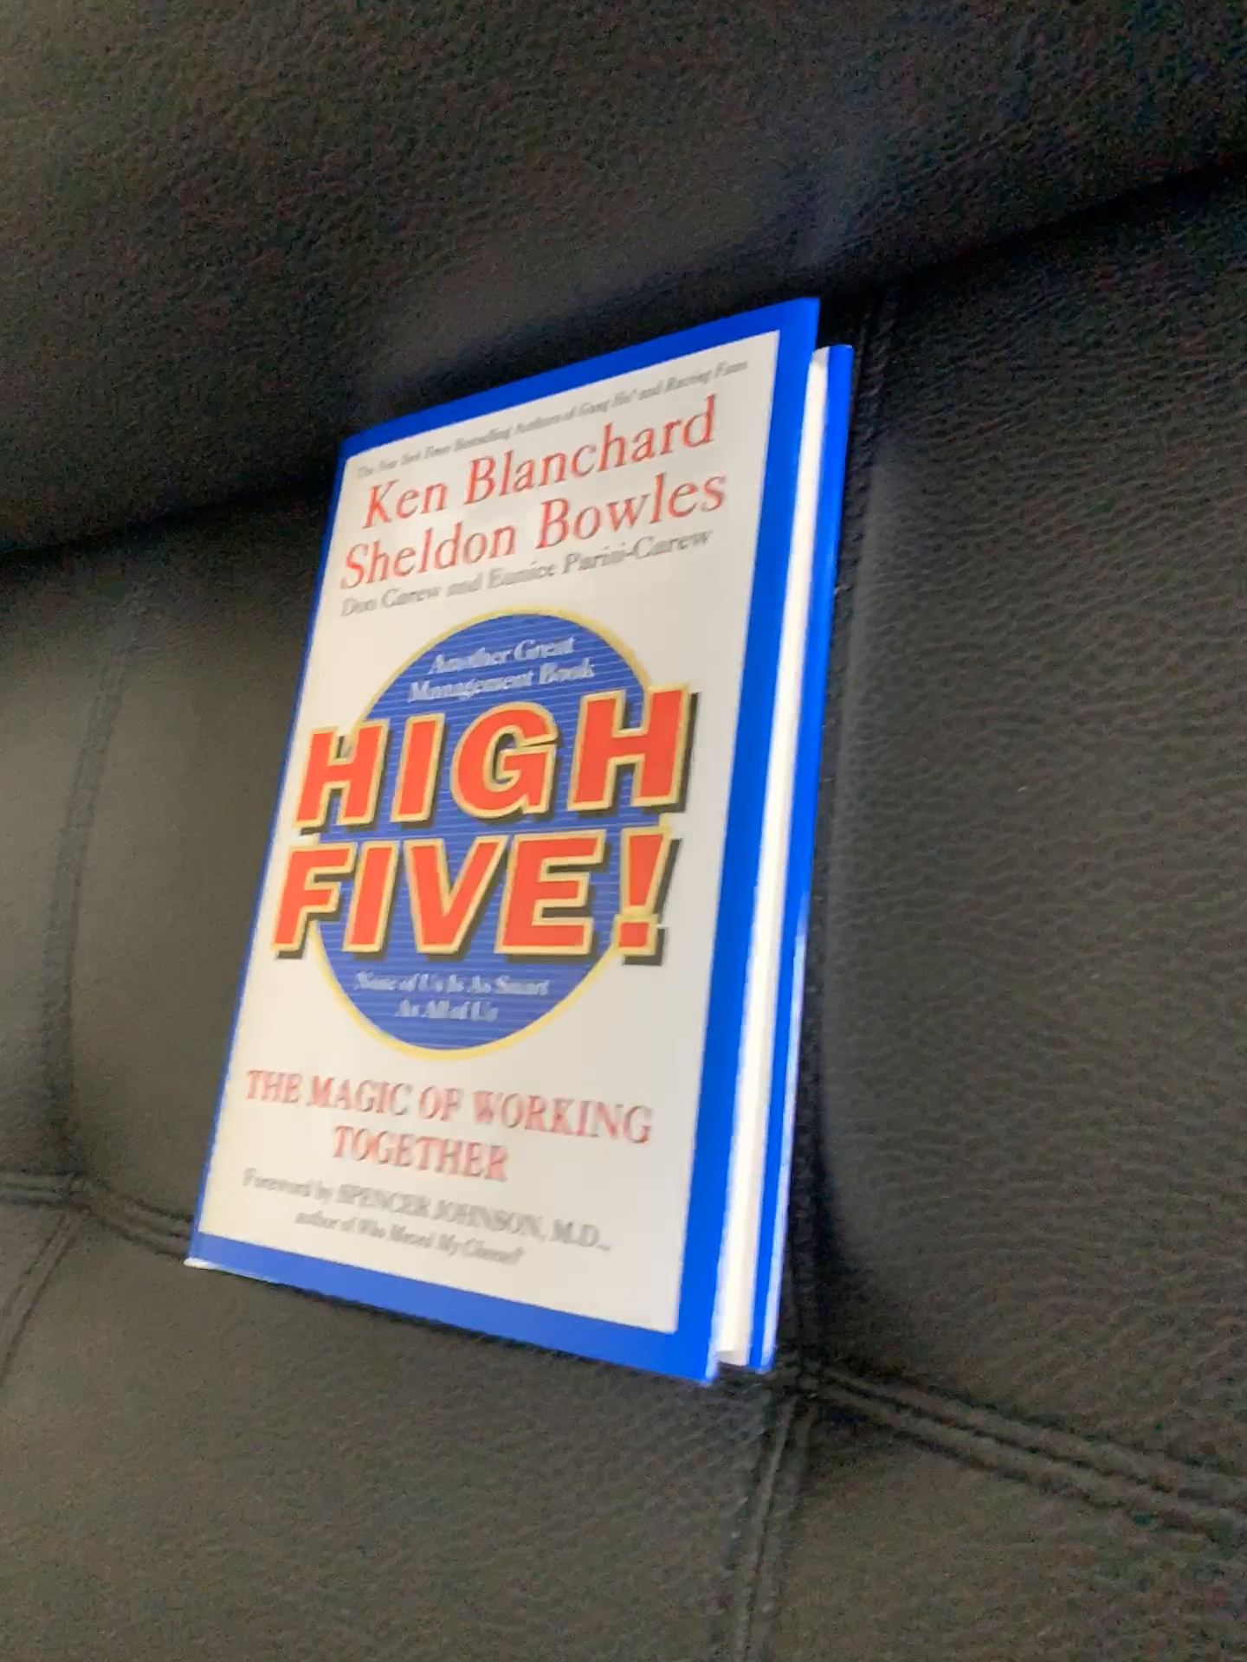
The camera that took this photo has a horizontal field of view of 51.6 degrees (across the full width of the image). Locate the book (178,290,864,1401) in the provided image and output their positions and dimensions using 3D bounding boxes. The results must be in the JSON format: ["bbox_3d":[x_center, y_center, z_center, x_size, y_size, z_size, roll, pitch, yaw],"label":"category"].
[{"bbox_3d":[-0.026,-0.002,0.299,0.151,0.023,0.220,-3,73,34],"label":"book"}]
